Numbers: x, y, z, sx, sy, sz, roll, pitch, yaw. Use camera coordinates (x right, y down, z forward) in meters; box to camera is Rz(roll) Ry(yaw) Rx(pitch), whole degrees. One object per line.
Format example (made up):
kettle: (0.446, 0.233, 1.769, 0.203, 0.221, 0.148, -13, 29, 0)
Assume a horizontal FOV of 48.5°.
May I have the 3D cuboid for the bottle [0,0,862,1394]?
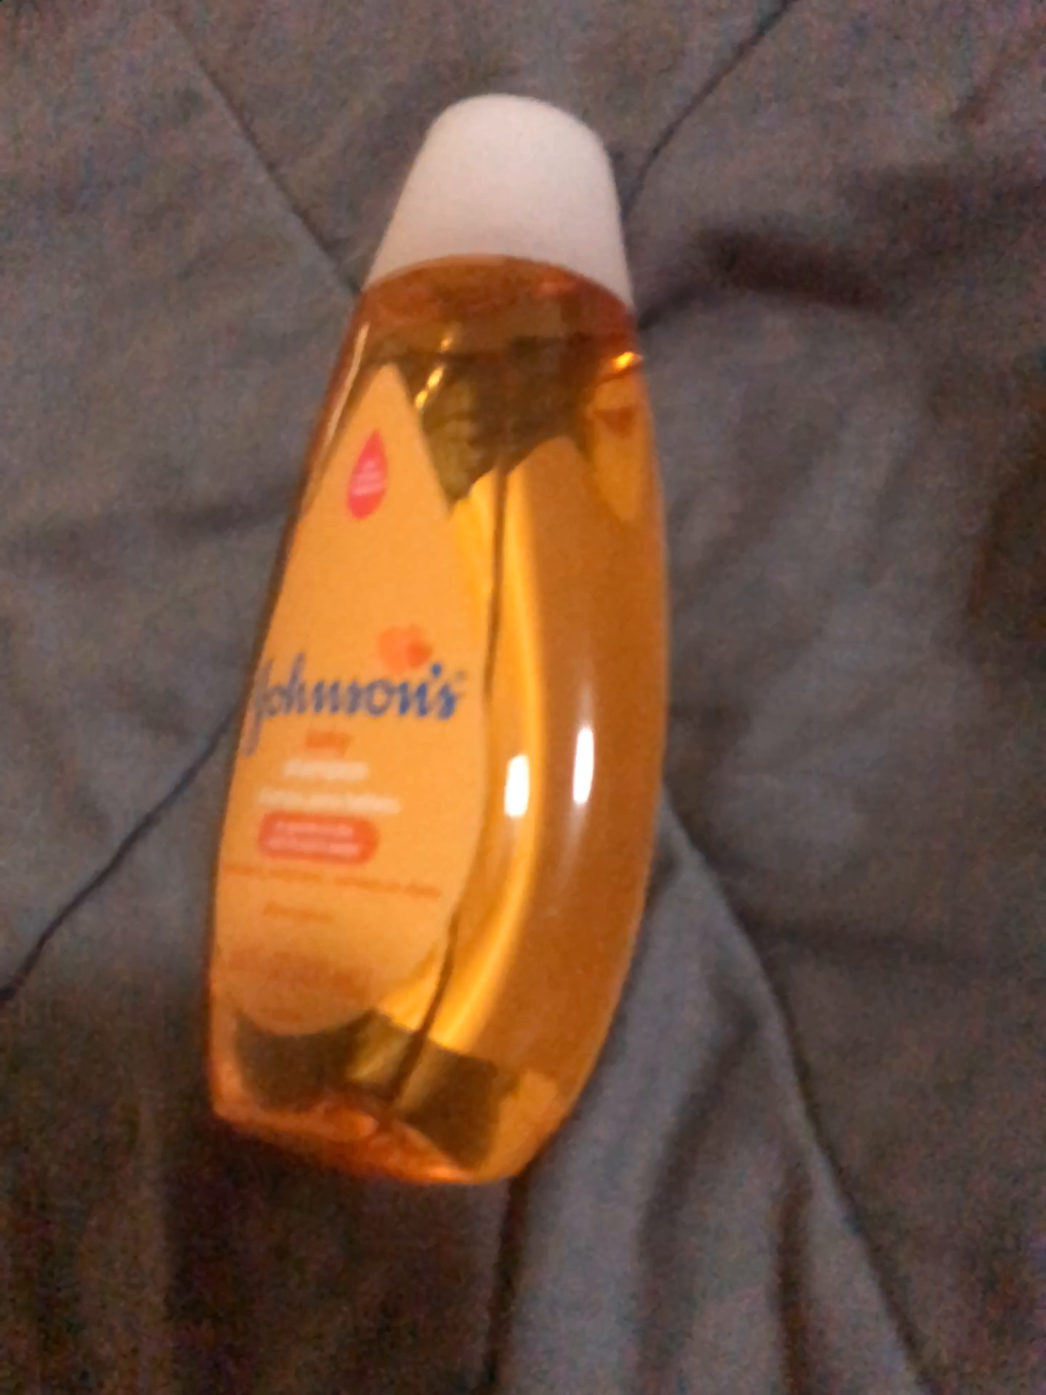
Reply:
bottle: (-0.014, -0.009, 0.159, 0.084, 0.040, 0.160, 7, 81, 37)
